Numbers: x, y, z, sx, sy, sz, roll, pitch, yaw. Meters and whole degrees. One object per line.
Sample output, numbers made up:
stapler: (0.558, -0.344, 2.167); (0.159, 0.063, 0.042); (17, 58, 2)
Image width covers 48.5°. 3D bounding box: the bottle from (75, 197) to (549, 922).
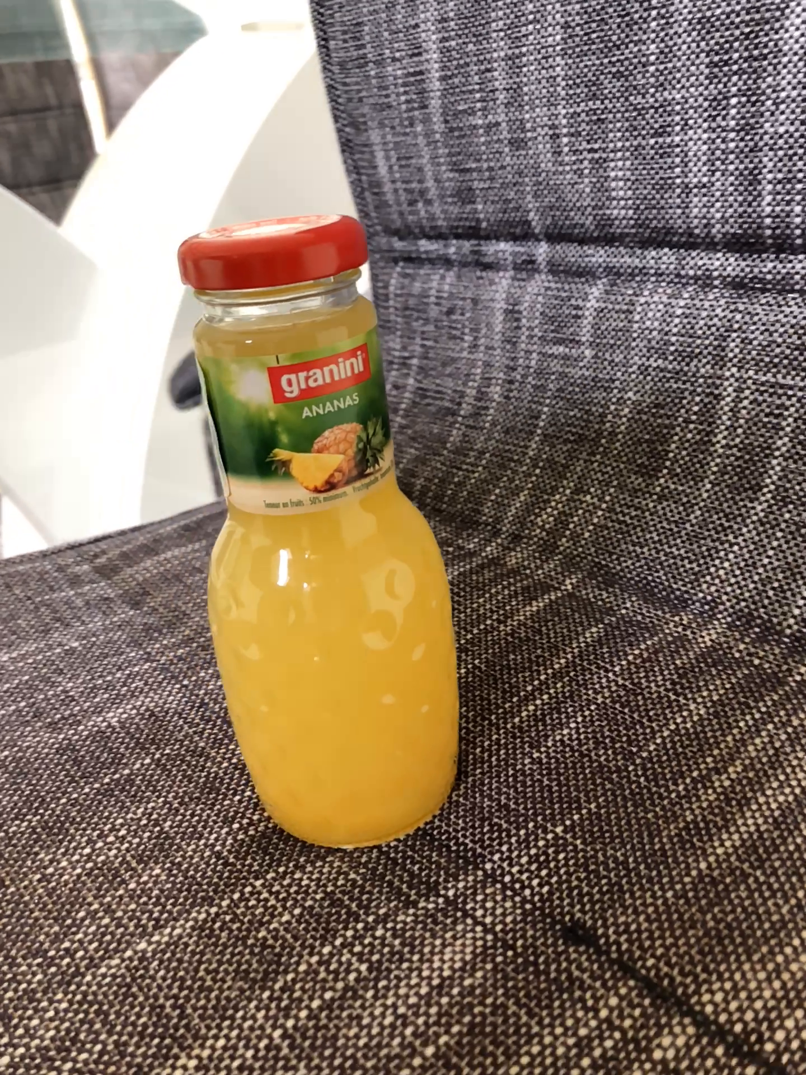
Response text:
bottle: (-0.017, 0.000, 0.221); (0.070, 0.149, 0.070); (-6, 25, 3)
